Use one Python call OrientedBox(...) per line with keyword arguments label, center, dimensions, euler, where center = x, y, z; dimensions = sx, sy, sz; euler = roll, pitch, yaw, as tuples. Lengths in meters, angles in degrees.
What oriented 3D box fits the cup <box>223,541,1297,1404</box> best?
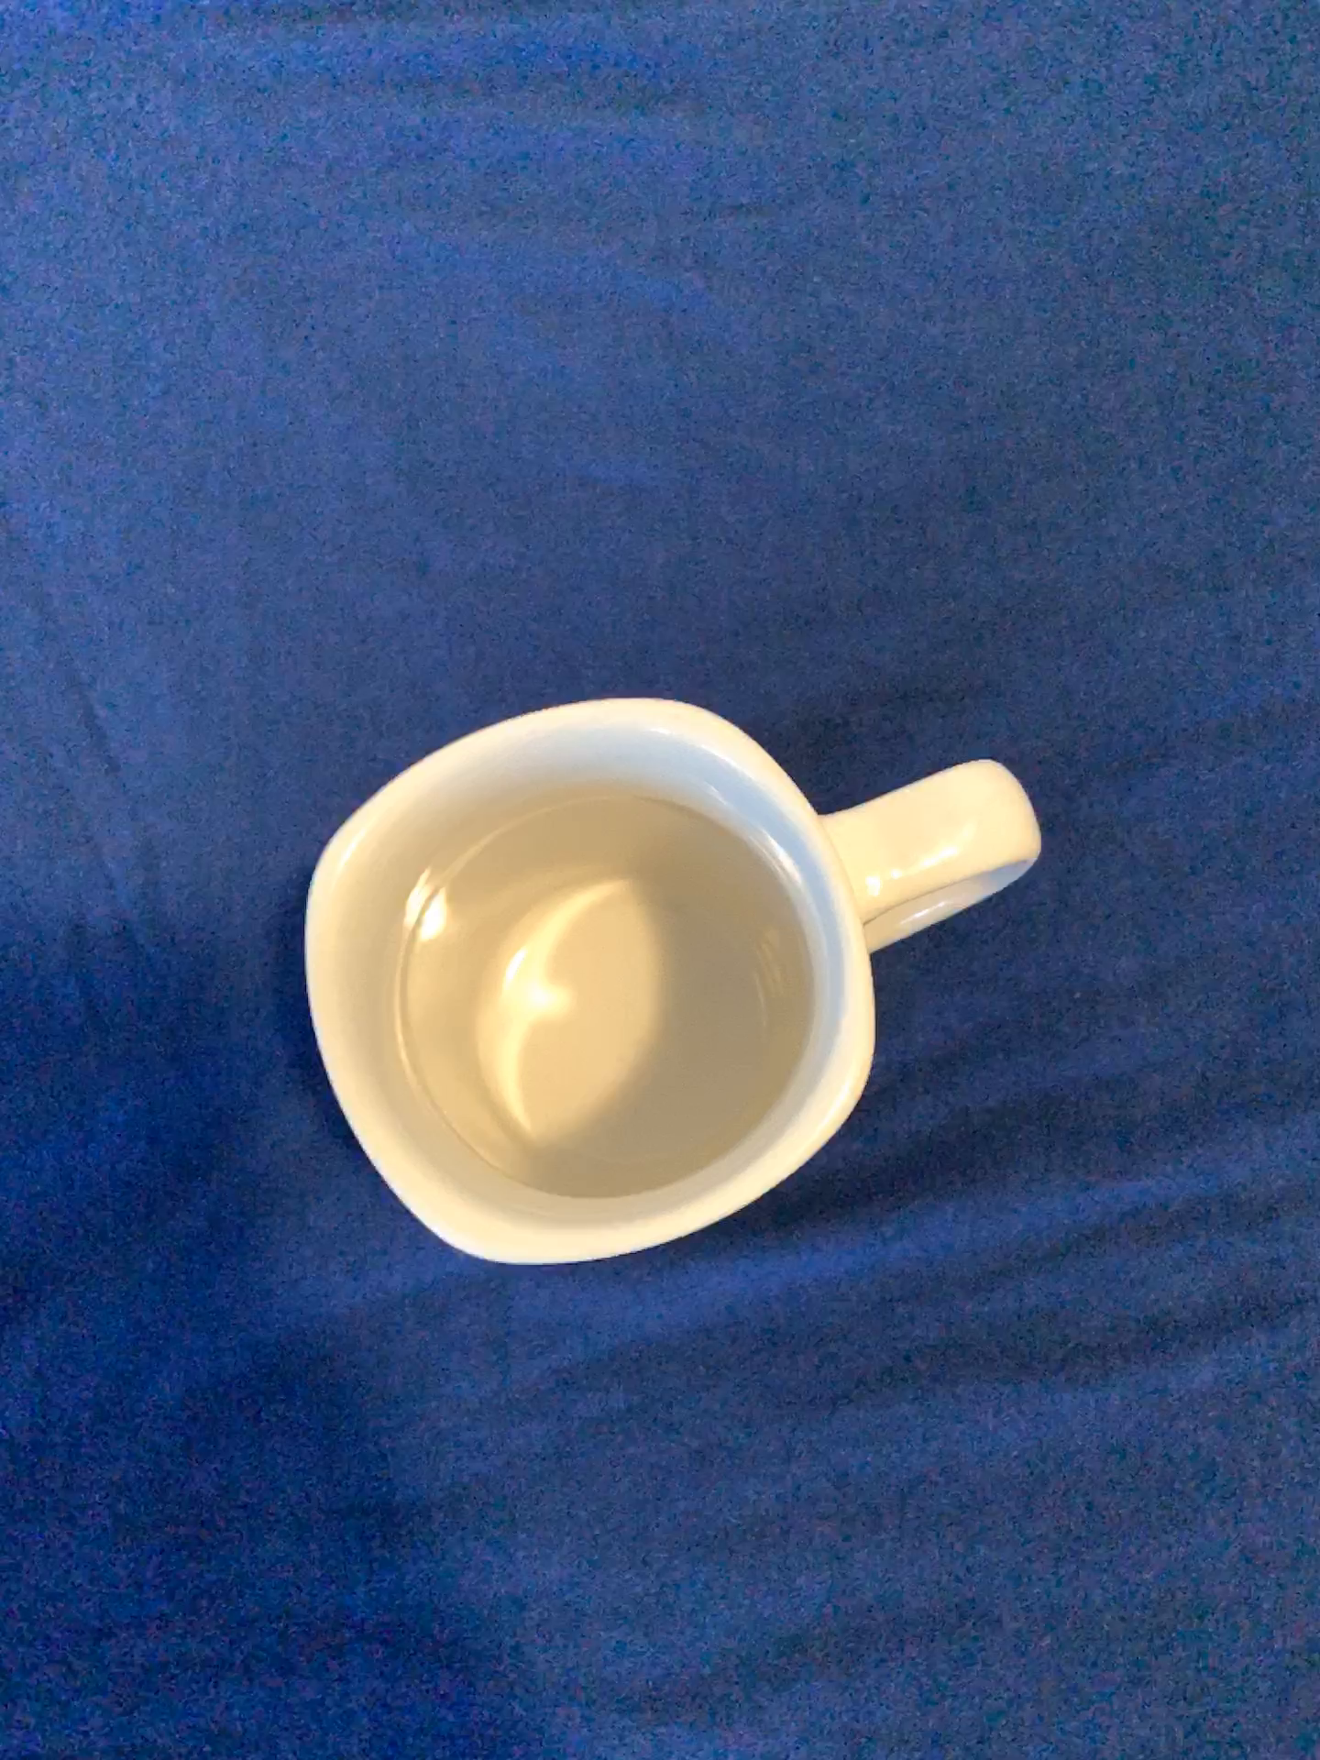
OrientedBox(label="cup", center=(0.012, 0.019, 0.209), dimensions=(0.110, 0.090, 0.070), euler=(-20, 76, -2))
